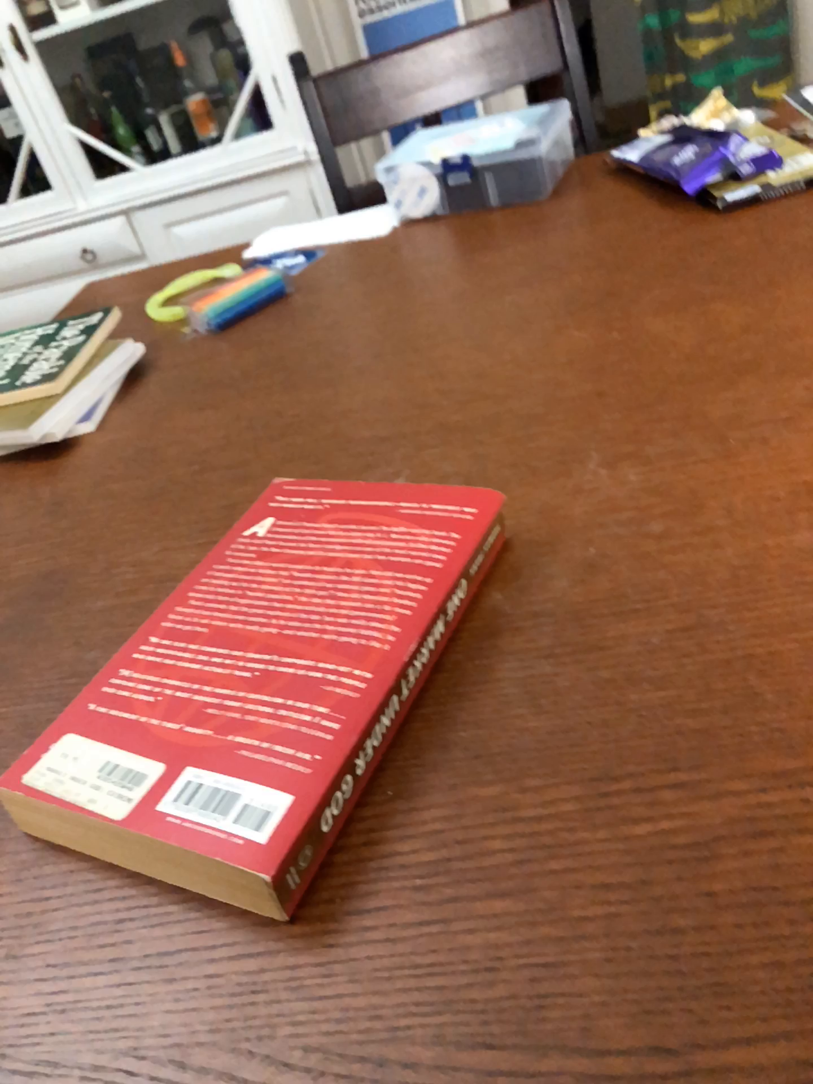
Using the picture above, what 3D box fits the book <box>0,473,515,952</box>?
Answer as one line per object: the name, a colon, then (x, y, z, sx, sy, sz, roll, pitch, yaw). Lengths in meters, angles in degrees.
book: (-0.060, 0.045, 0.374, 0.140, 0.030, 0.211, 4, 40, 30)
